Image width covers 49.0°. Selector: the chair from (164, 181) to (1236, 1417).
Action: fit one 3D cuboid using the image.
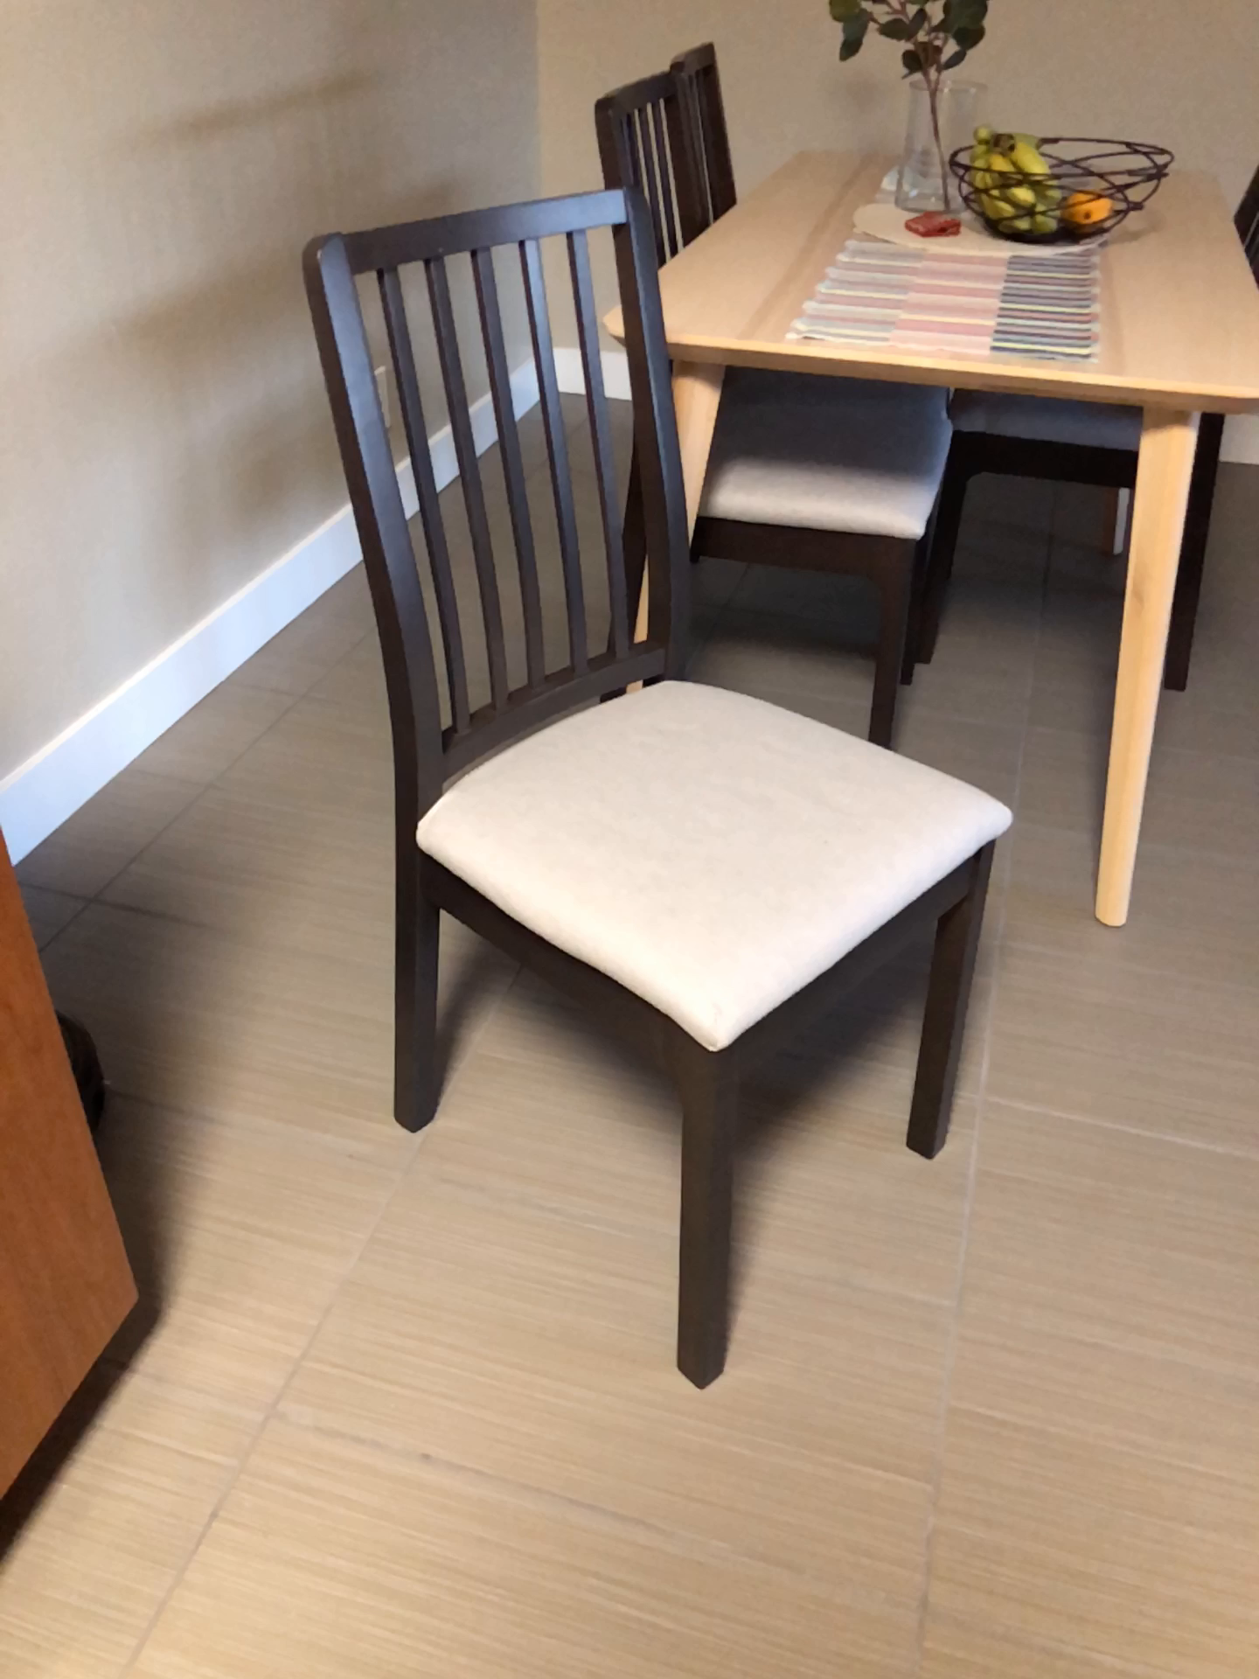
[{"bbox_3d":[0.055,-0.087,1.297,0.591,0.846,0.582,27,42,34],"label":"chair"}]
